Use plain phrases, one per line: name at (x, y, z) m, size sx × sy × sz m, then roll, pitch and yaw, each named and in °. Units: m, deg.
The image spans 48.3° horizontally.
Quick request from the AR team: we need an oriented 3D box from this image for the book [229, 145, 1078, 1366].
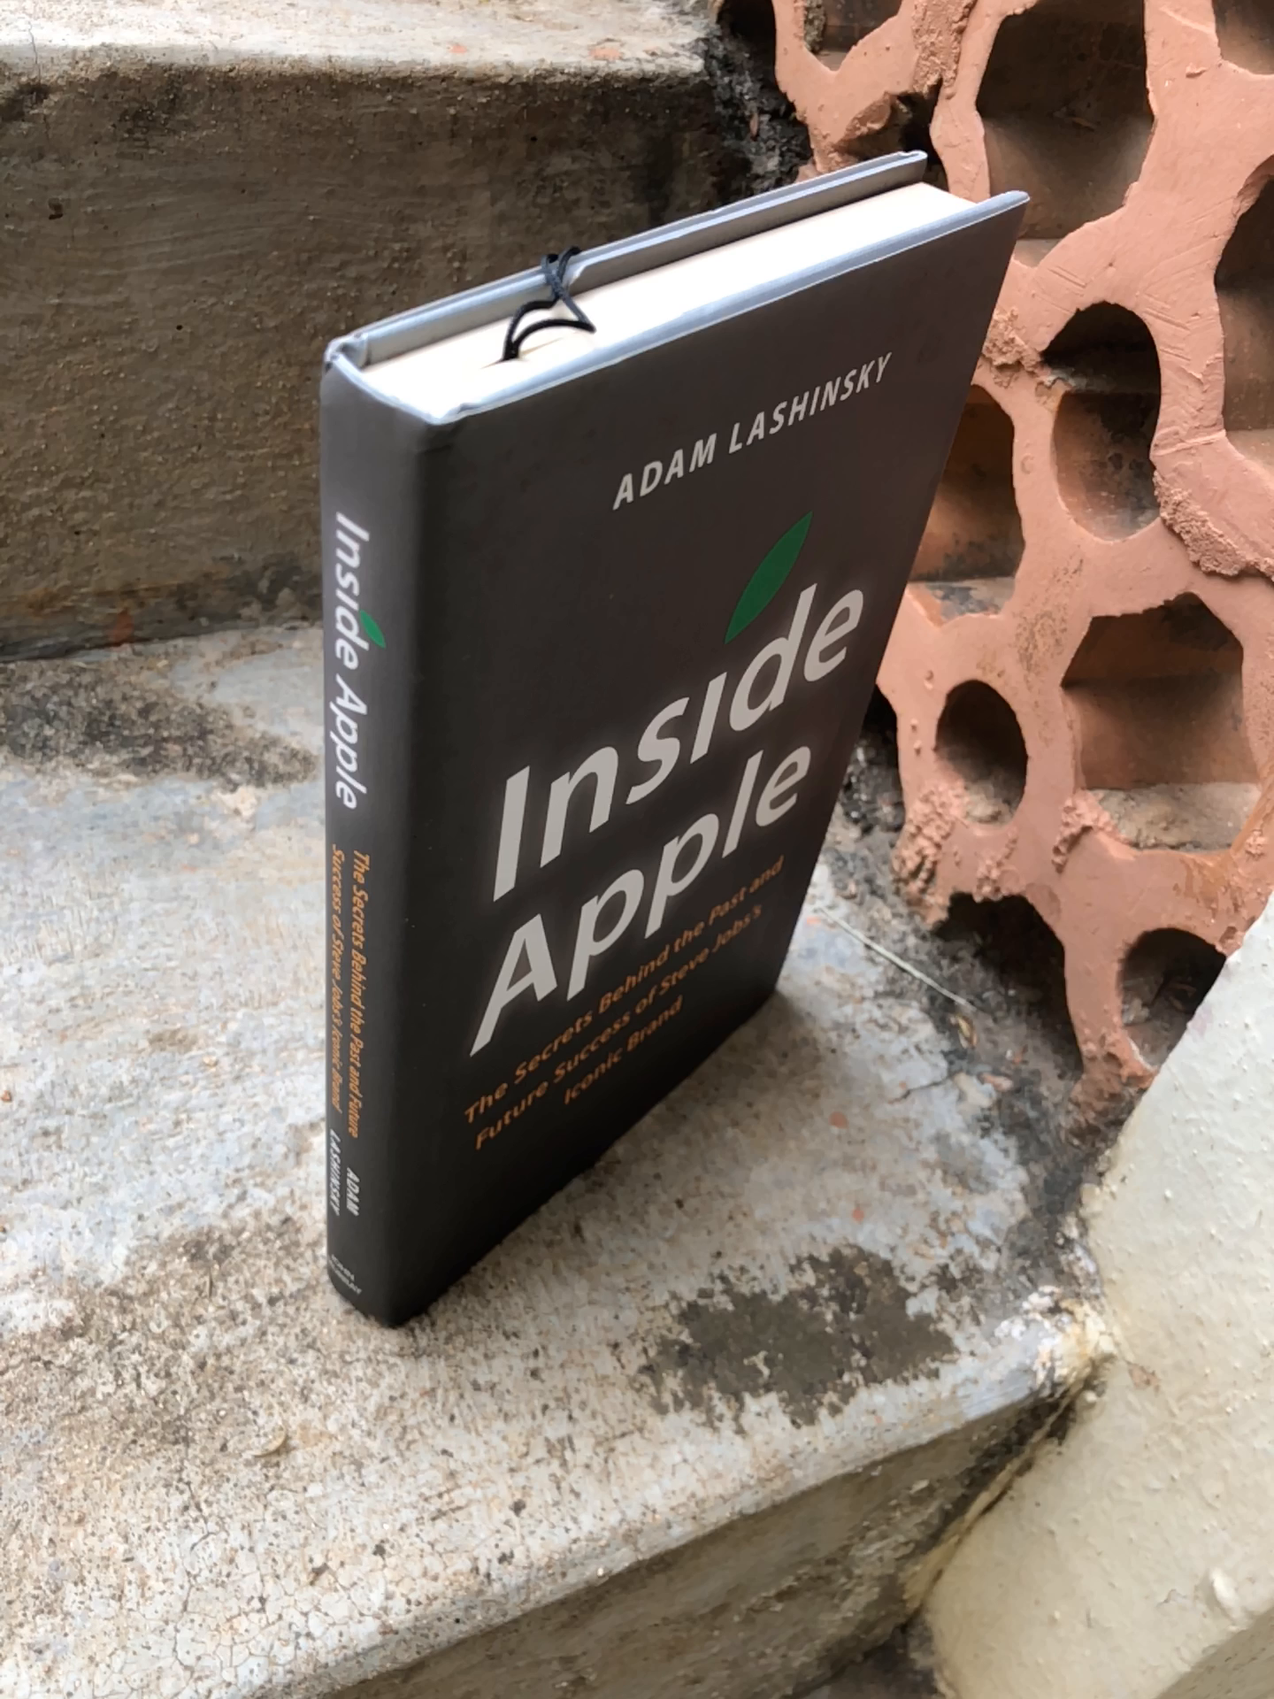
book at (0.002, -0.015, 0.303) m, size 0.040 × 0.219 × 0.171 m, roll 33°, pitch 47°, yaw 24°
